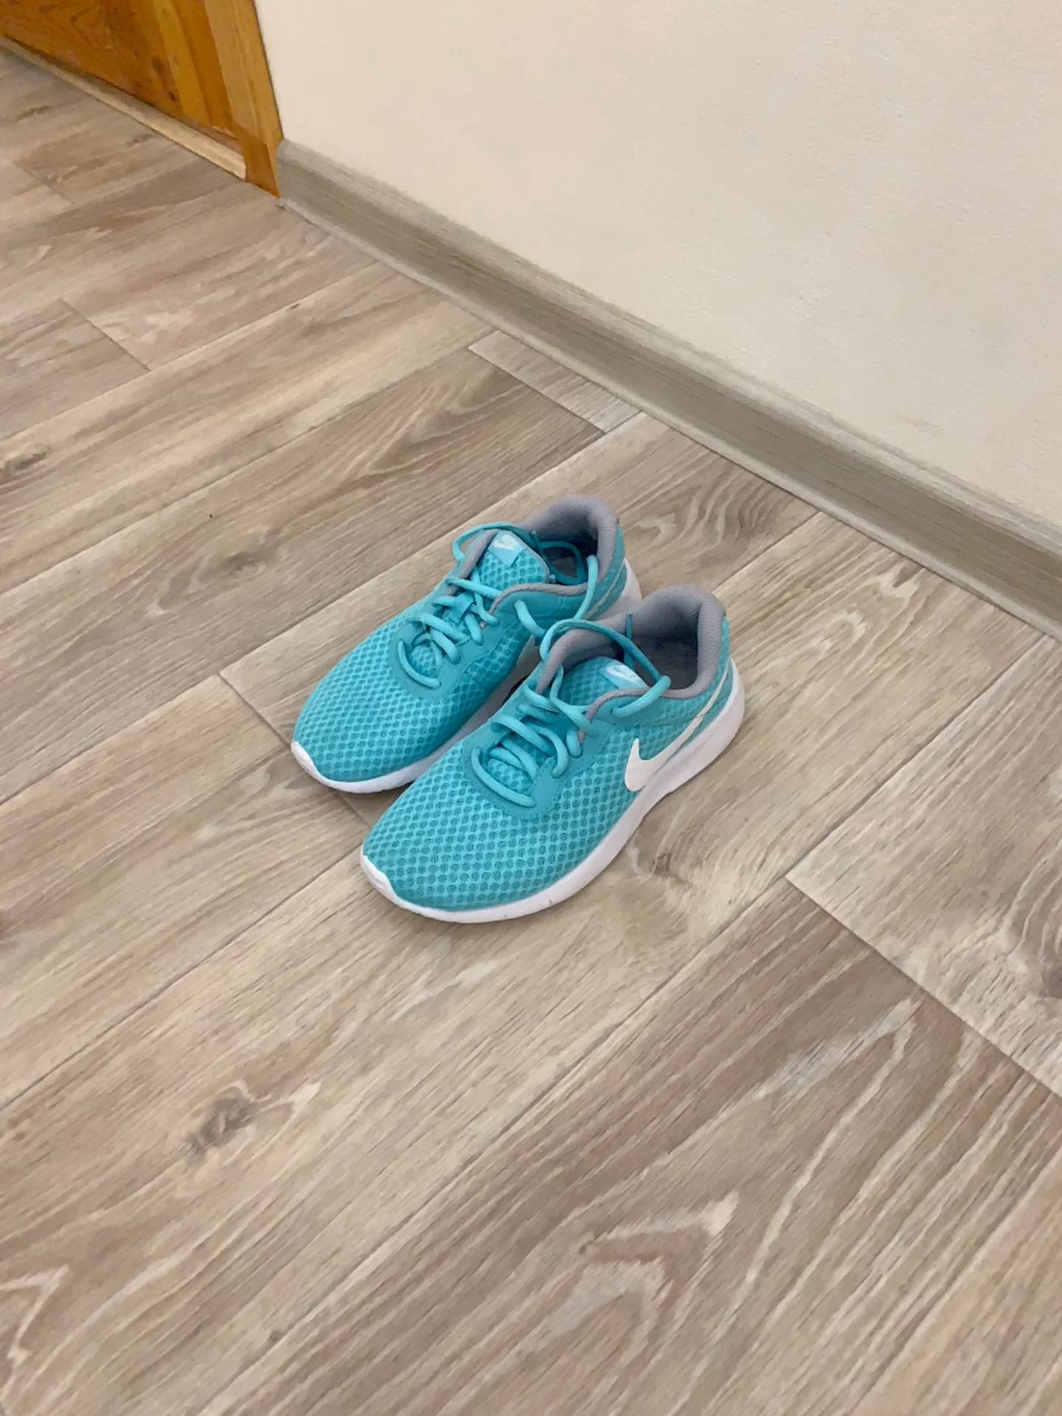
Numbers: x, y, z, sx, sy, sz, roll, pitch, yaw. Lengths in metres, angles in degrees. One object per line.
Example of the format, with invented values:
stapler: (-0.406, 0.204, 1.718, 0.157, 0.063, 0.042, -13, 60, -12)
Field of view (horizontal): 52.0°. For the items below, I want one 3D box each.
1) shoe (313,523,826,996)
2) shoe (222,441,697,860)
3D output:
shoe: (0.027, 0.018, 0.570, 0.250, 0.090, 0.099, -34, 56, -22)
shoe: (-0.032, -0.041, 0.628, 0.250, 0.090, 0.102, -34, 56, -22)
